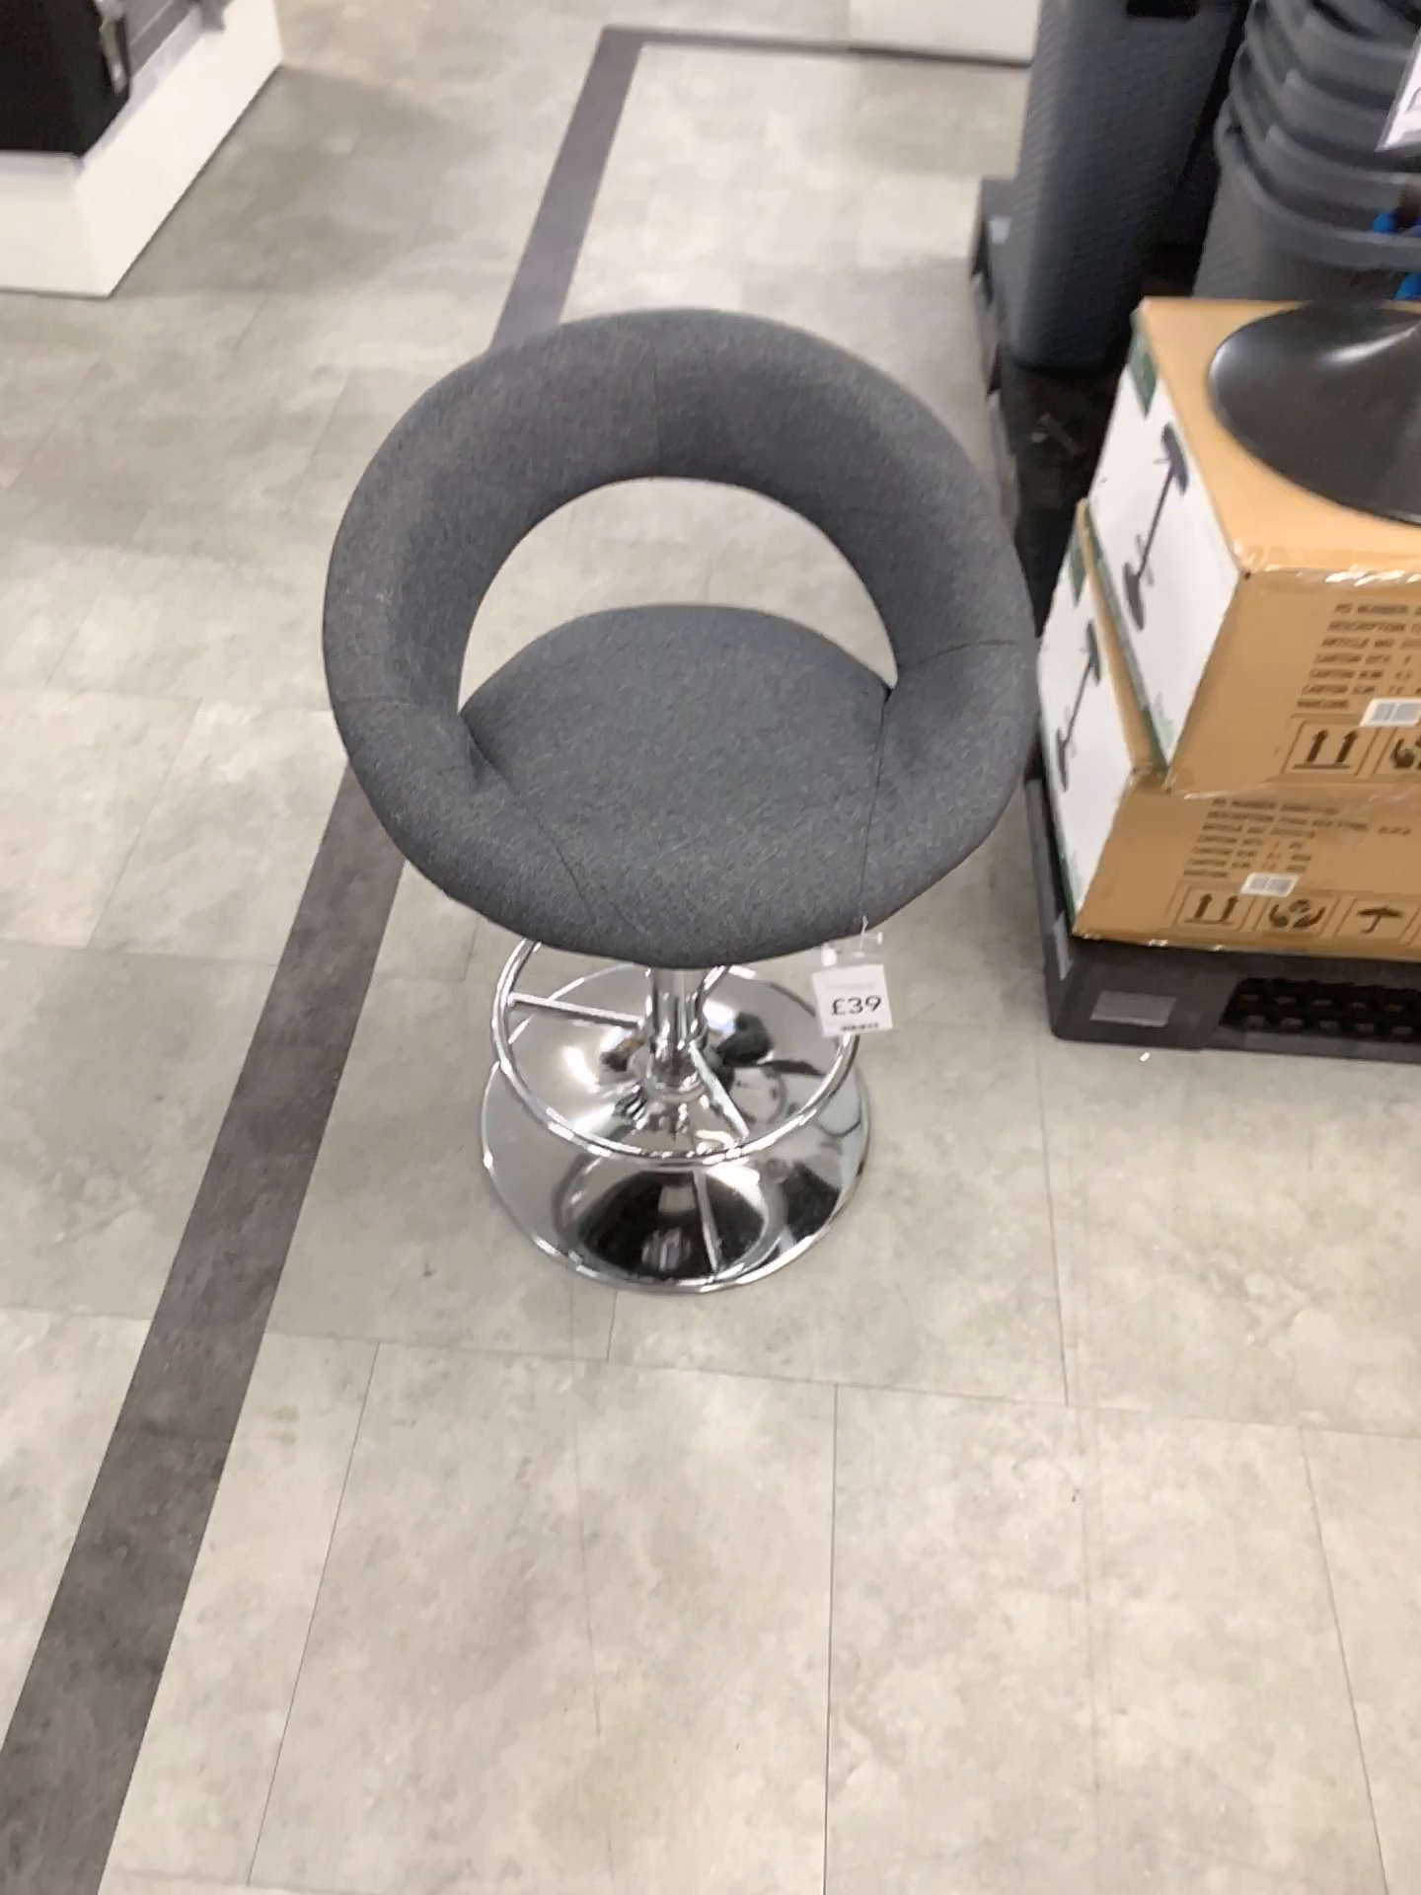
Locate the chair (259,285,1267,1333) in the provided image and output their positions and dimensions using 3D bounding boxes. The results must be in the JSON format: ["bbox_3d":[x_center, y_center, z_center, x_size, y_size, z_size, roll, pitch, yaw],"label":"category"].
[{"bbox_3d":[0.001,-0.106,1.264,0.572,0.664,0.597,-2,50,-5],"label":"chair"}]
